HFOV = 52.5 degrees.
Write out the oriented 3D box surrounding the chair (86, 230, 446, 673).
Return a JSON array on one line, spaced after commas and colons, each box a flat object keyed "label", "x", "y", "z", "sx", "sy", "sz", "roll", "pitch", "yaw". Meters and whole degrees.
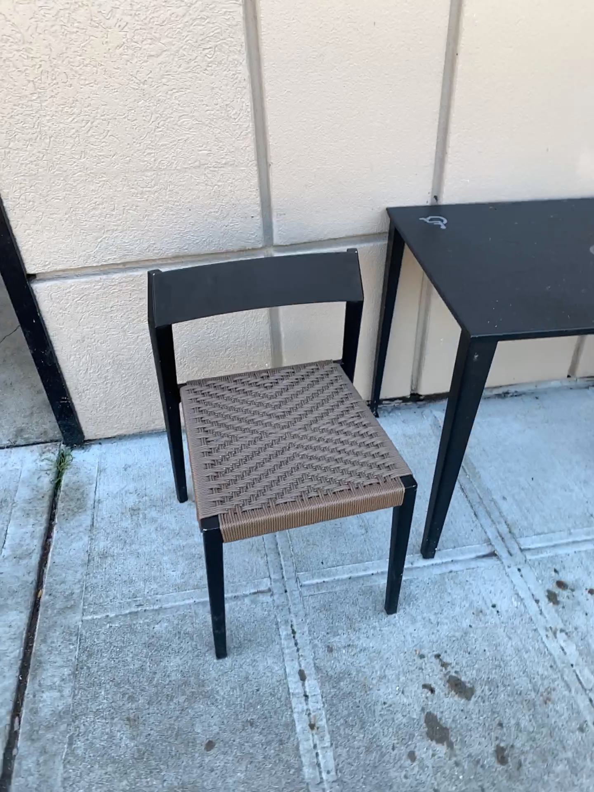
[{"label": "chair", "x": -0.090, "y": 0.103, "z": 1.314, "sx": 0.550, "sy": 0.666, "sz": 0.553, "roll": -11, "pitch": 40, "yaw": -10}]
